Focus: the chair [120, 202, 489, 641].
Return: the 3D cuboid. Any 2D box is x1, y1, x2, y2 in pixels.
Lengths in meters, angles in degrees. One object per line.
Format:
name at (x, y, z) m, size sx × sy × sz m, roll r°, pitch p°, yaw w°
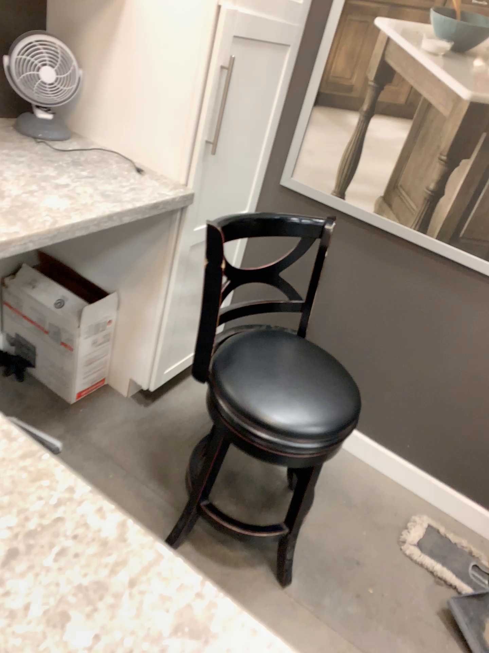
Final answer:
chair at (0.095, 0.216, 1.365) m, size 0.559 × 0.911 × 0.606 m, roll -12°, pitch 42°, yaw -37°
